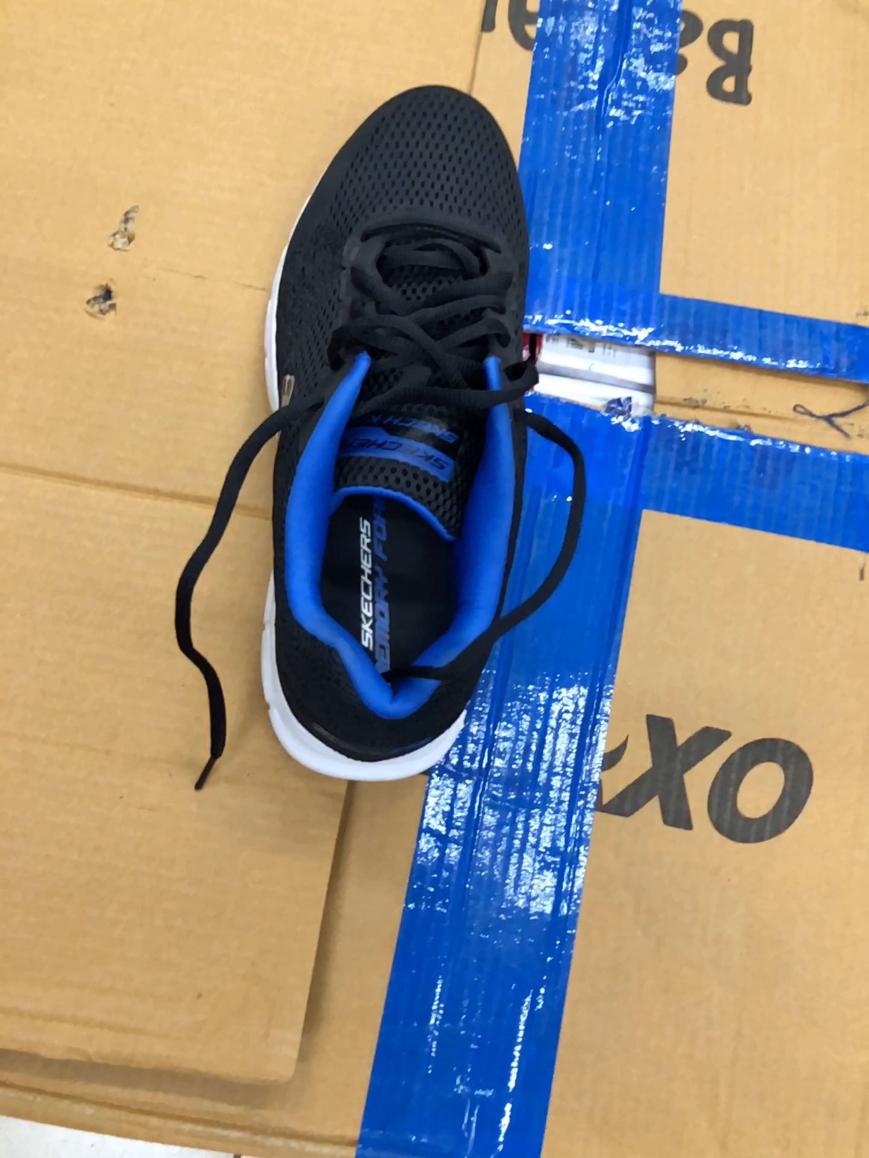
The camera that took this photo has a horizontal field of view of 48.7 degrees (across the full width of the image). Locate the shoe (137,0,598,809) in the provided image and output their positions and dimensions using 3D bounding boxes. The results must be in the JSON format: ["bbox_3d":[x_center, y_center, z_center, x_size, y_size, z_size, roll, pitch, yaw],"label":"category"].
[{"bbox_3d":[-0.018,-0.064,0.358,0.114,0.106,0.278,7,78,-3],"label":"shoe"}]
